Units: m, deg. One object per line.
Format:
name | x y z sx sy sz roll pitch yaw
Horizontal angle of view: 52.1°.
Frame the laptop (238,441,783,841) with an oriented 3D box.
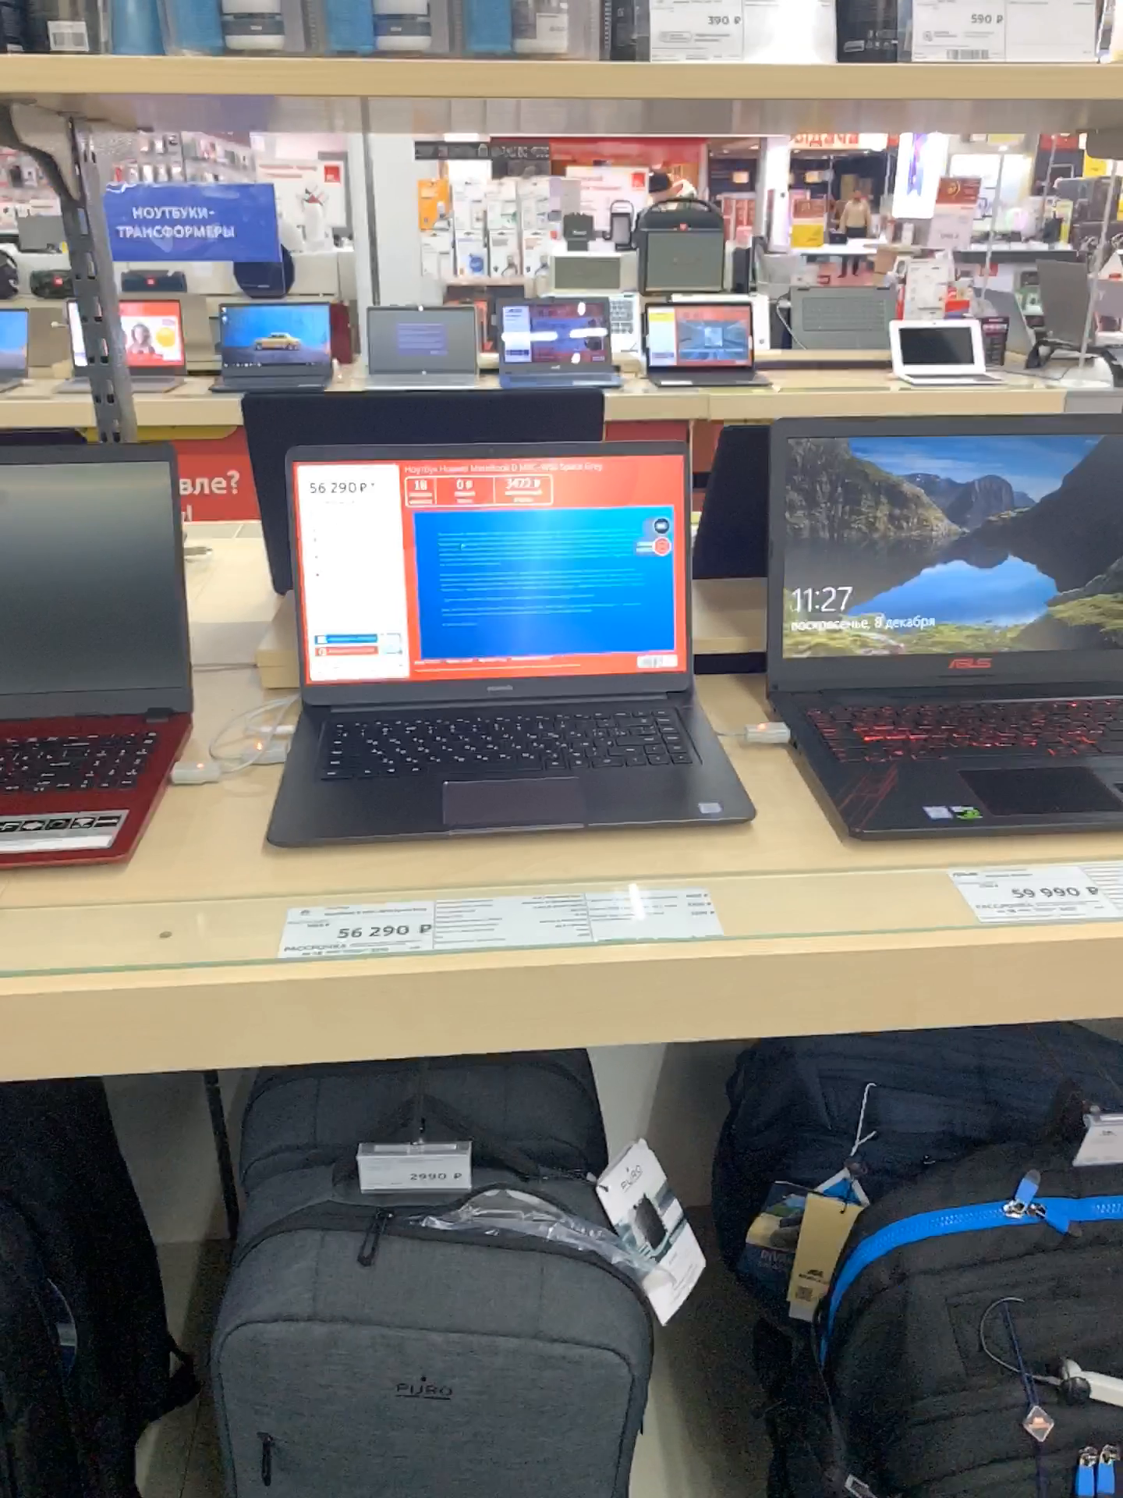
laptop | -0.044 -0.104 0.911 0.348 0.209 0.304 -2 25 -5
